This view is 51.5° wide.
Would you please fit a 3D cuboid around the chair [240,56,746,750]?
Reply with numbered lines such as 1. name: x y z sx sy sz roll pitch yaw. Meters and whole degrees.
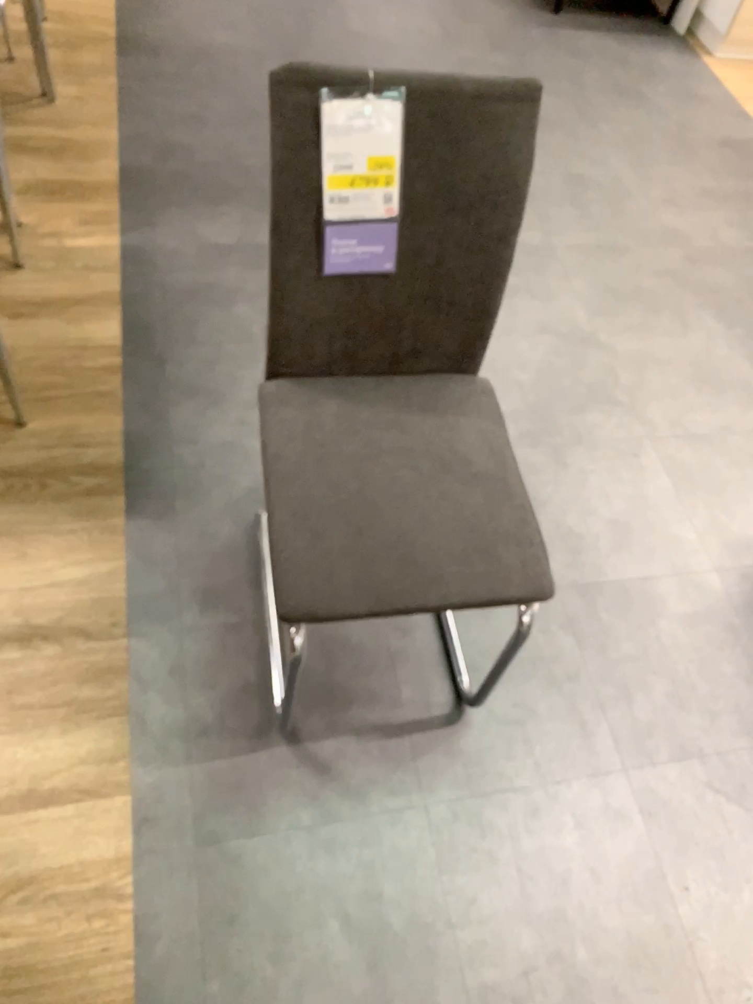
1. chair: 0.028 -0.062 1.255 0.436 0.976 0.541 -4 55 -13
